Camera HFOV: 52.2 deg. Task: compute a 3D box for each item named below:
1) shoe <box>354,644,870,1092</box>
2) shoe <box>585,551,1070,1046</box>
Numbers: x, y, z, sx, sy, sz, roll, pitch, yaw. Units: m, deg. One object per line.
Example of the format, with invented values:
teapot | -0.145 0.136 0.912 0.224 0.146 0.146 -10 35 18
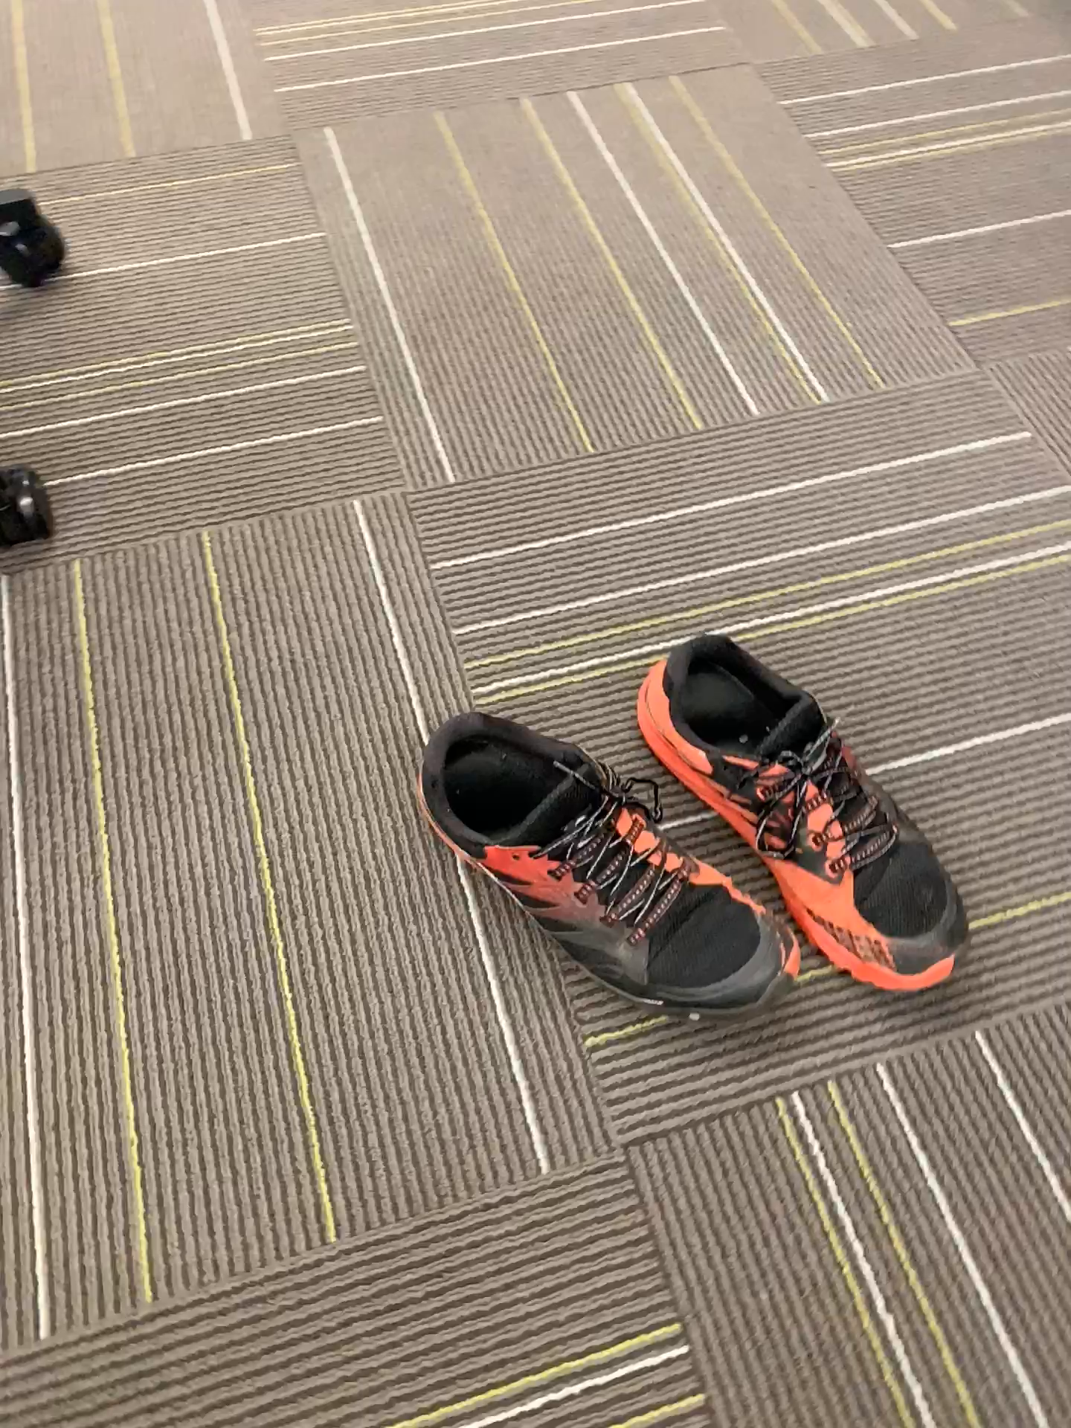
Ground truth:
shoe | 0.045 0.103 0.760 0.310 0.130 0.130 29 62 17
shoe | 0.191 0.053 0.787 0.130 0.130 0.321 -33 64 -19
